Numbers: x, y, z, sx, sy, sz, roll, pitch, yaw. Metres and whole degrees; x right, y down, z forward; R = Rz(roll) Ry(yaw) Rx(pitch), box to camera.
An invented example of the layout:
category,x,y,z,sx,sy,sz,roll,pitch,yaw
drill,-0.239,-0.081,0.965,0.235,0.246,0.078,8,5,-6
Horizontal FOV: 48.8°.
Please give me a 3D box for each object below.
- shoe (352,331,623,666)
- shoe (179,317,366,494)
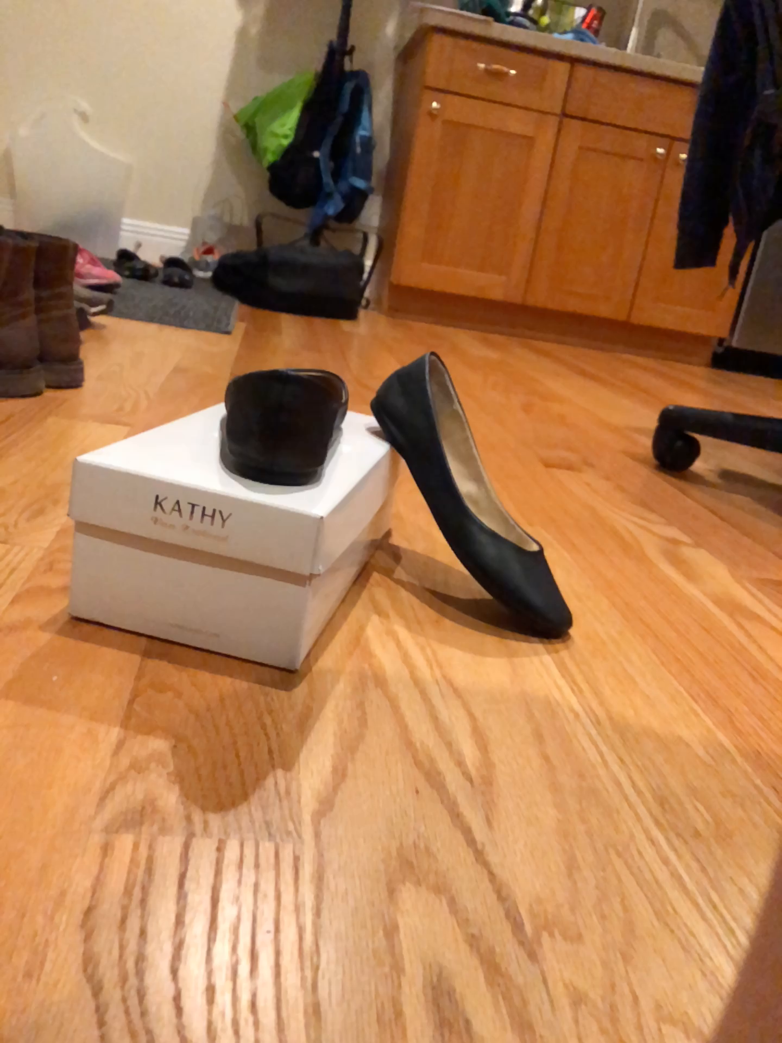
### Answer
category,x,y,z,sx,sy,sz,roll,pitch,yaw
shoe,0.065,-0.019,0.618,0.076,0.060,0.240,11,46,-56
shoe,-0.065,-0.086,0.558,0.076,0.060,0.240,10,18,-1
